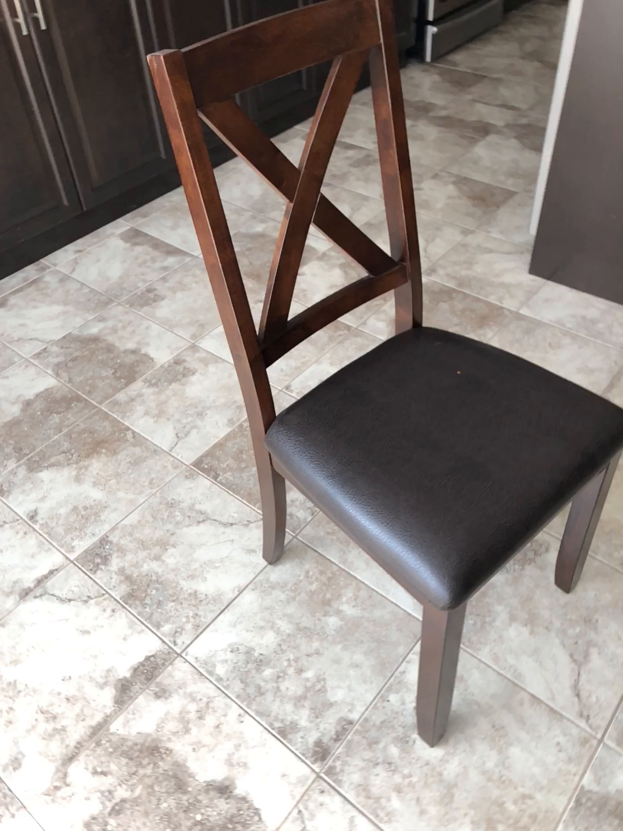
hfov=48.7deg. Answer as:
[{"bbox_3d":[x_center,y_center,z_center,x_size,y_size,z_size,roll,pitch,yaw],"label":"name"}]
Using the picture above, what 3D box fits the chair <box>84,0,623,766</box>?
[{"bbox_3d":[0.147,-0.053,1.034,0.481,0.937,0.601,-33,51,-27],"label":"chair"}]
